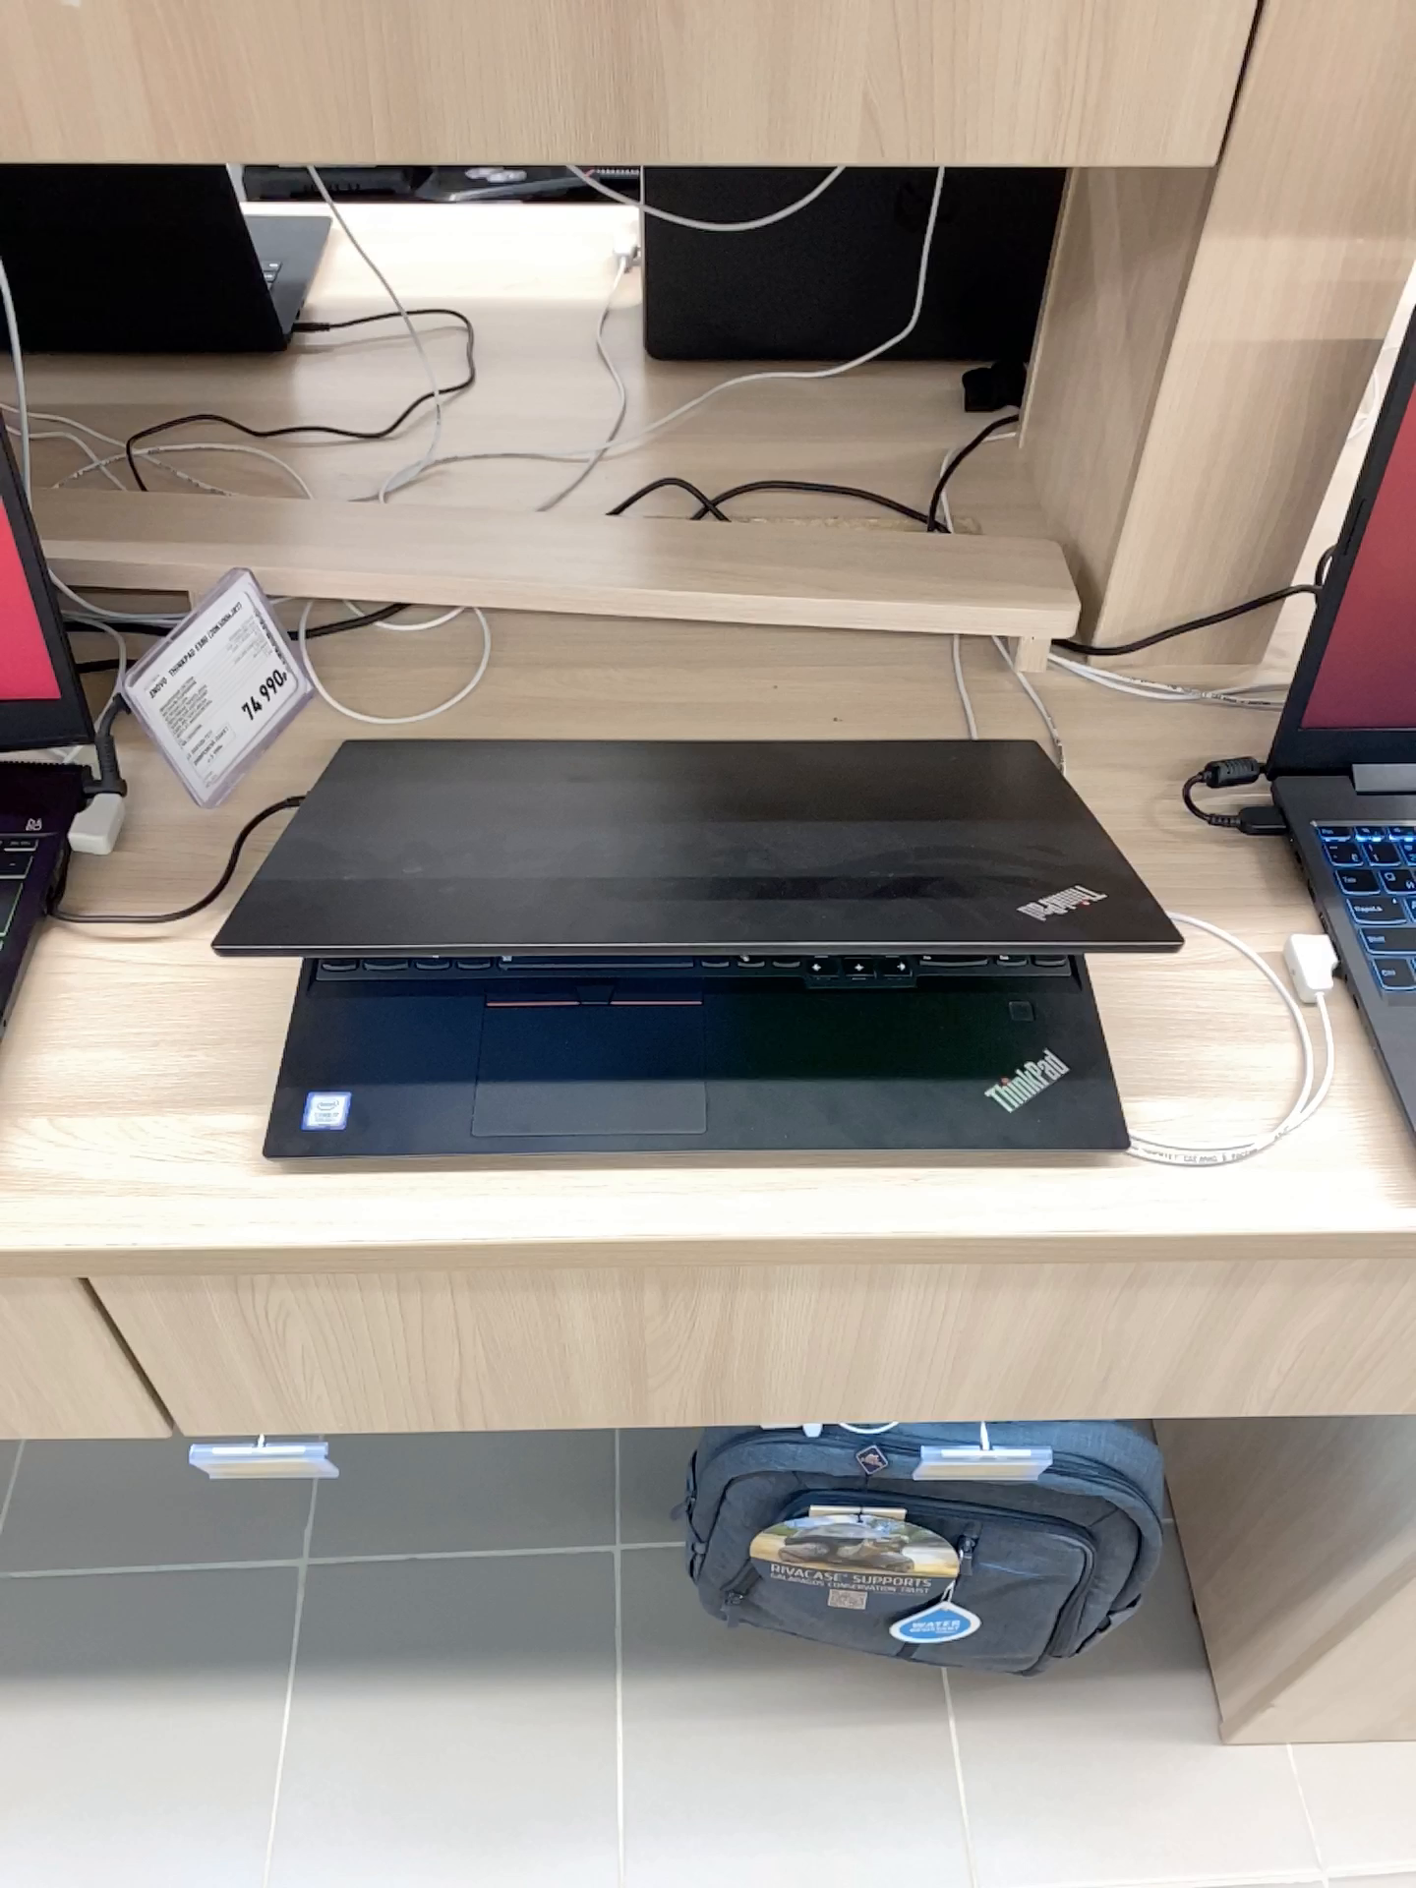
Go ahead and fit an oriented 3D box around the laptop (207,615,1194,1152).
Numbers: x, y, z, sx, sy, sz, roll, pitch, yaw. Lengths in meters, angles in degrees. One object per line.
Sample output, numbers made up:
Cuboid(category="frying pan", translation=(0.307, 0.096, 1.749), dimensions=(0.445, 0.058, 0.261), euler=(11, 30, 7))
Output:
Cuboid(category="laptop", translation=(-0.005, -0.036, 0.650), dimensions=(0.368, 0.093, 0.241), euler=(0, 49, 0))
